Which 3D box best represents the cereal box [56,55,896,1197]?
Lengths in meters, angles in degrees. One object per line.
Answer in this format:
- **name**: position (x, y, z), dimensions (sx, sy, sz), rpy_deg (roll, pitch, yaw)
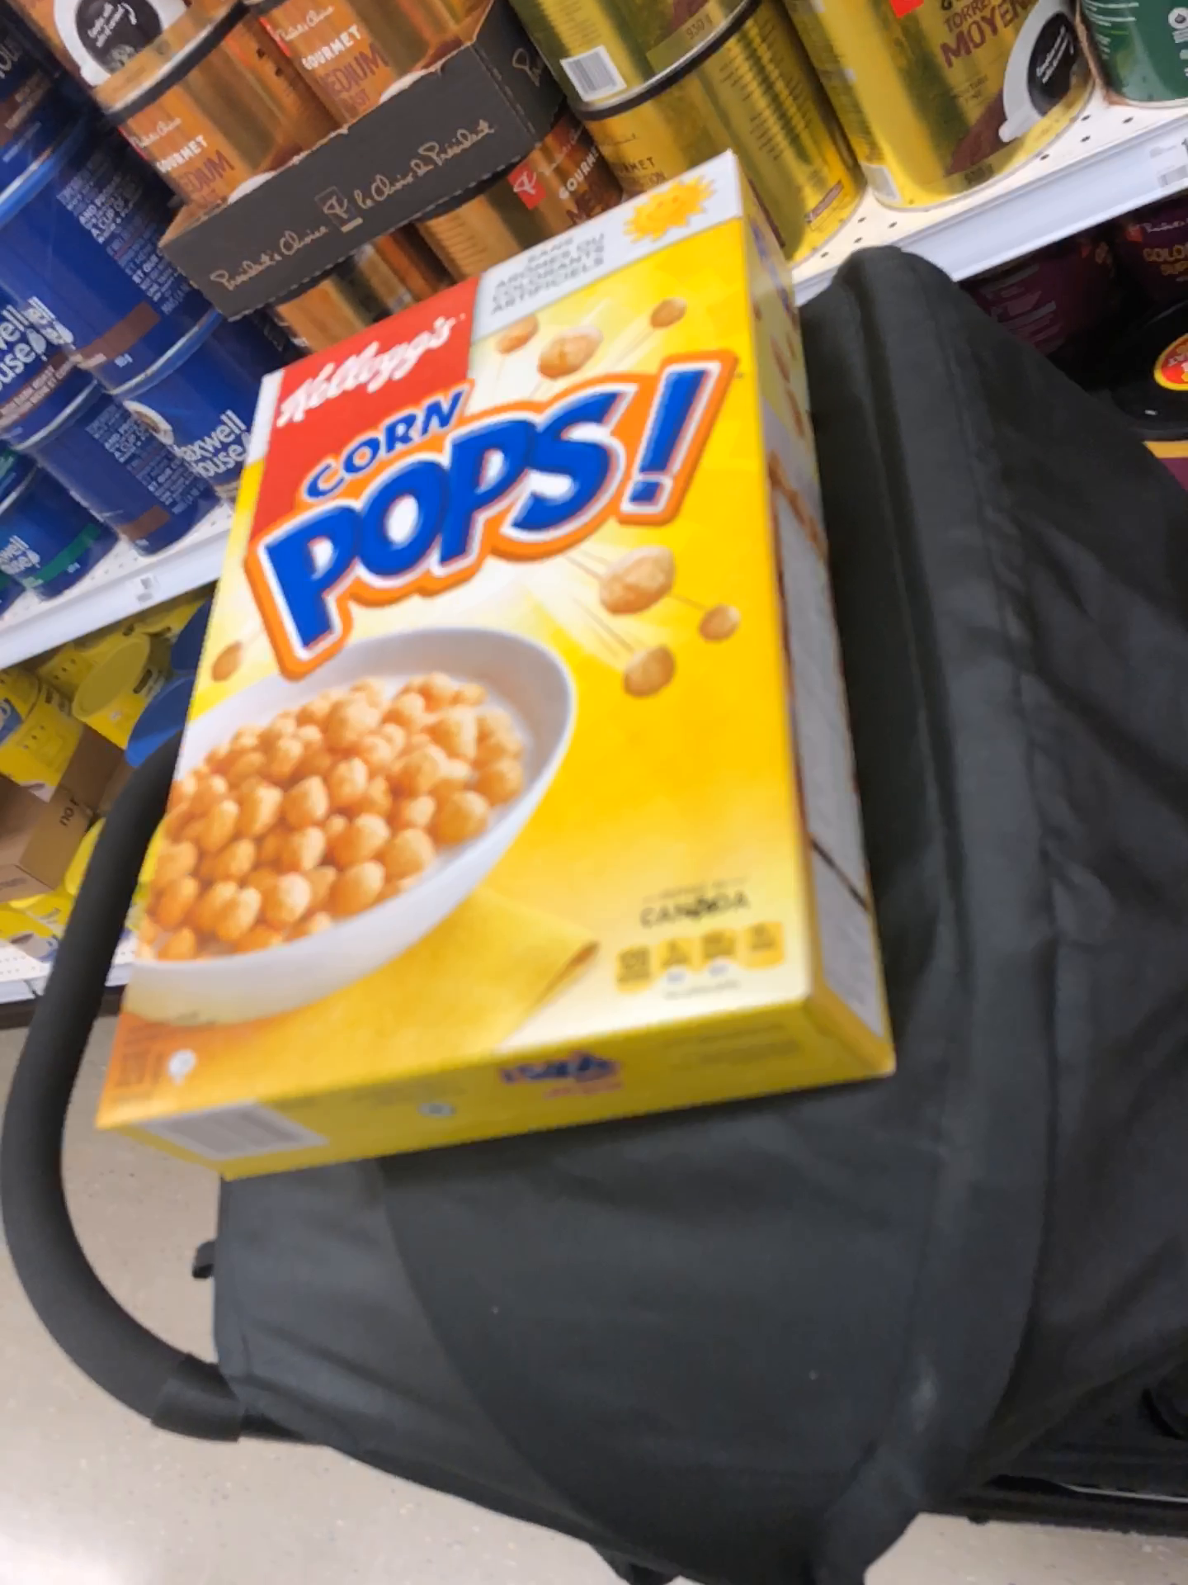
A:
- **cereal box**: position (-0.034, -0.059, 0.393), dimensions (0.201, 0.060, 0.321), rpy_deg (-17, 54, 26)
